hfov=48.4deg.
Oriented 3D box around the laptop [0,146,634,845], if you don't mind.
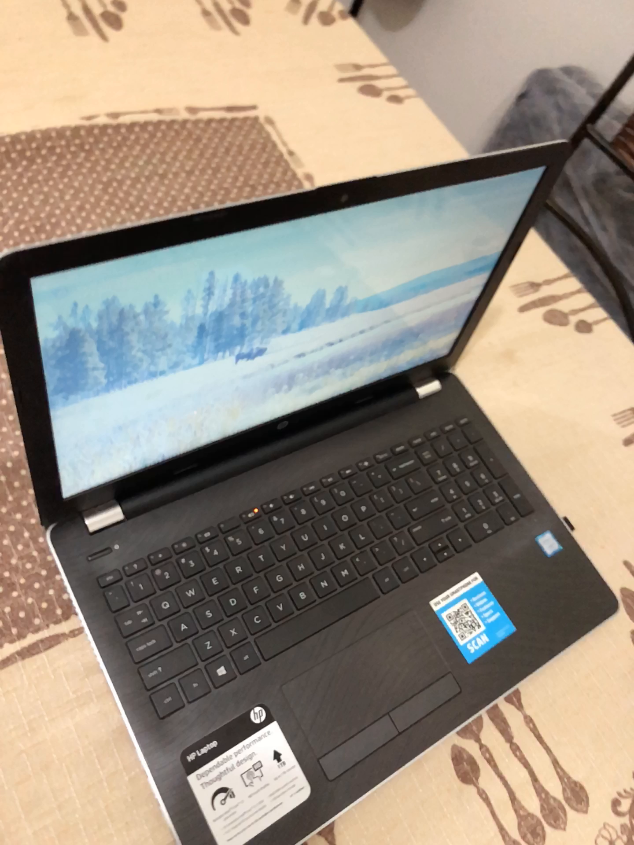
[{"bbox_3d":[0.051,0.039,0.419,0.361,0.226,0.268,-21,67,-28],"label":"laptop"}]
